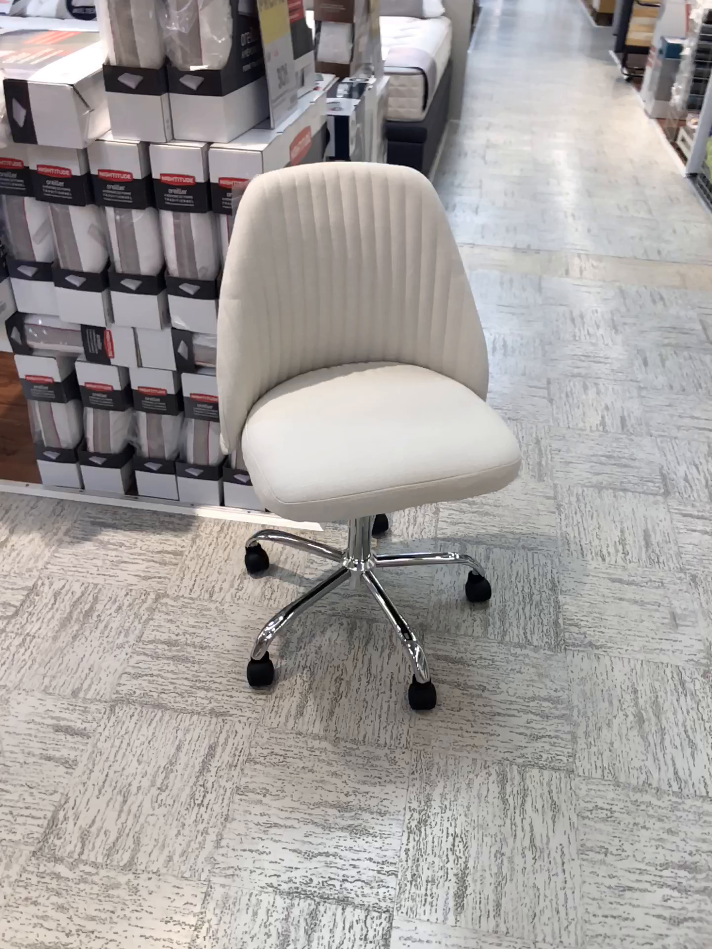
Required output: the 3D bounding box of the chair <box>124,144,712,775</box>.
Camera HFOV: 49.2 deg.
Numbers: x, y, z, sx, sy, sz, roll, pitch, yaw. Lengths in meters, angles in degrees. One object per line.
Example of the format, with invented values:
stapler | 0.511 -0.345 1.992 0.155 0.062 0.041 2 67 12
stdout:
chair | 0.059 -0.077 1.400 0.702 0.785 0.632 -14 39 -21
